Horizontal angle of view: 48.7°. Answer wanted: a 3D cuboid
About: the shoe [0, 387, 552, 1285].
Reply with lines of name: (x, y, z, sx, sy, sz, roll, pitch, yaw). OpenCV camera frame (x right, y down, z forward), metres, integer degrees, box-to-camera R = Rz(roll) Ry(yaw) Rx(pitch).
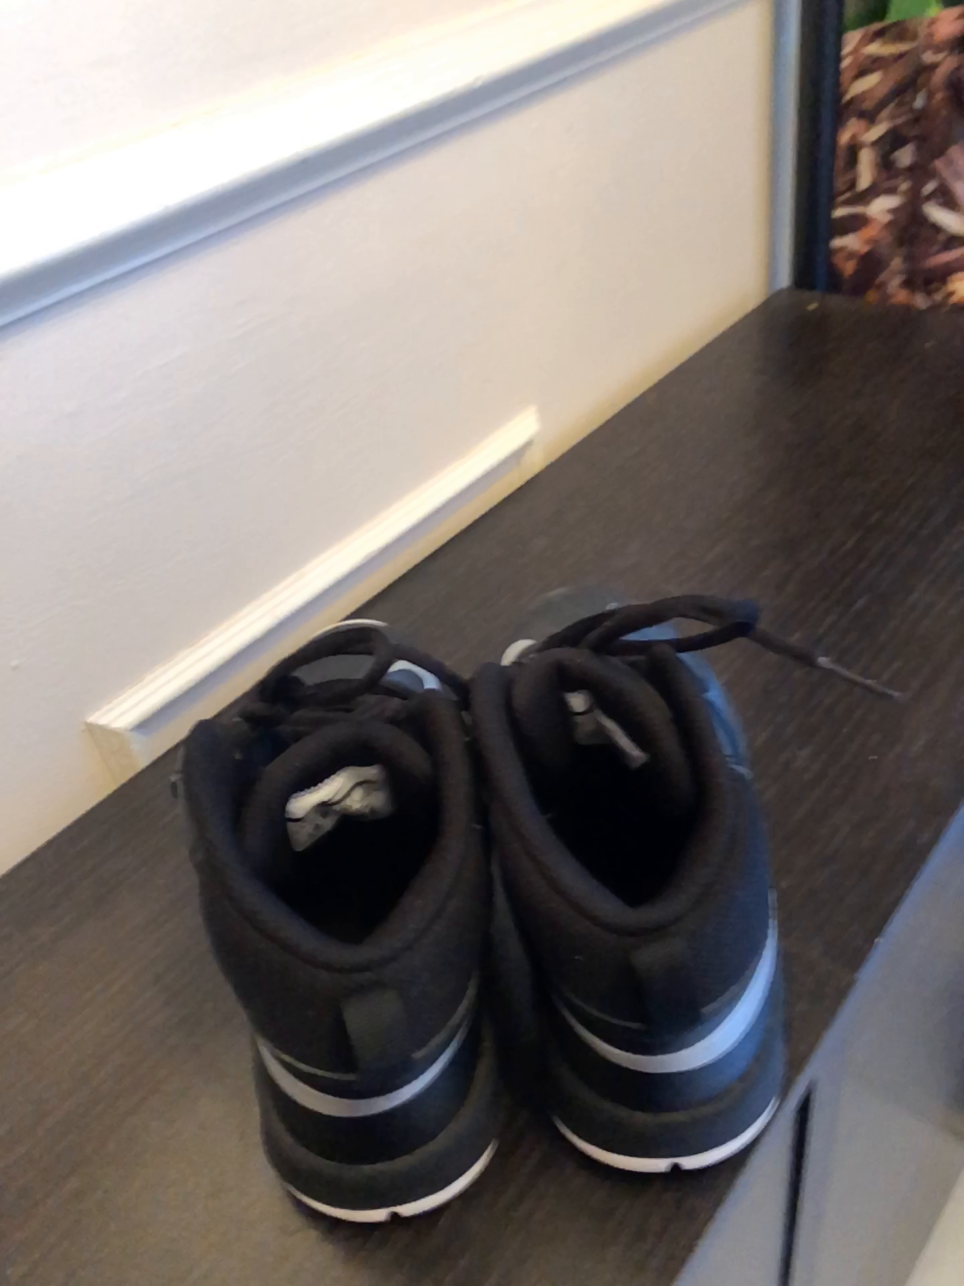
shoe: (-0.059, 0.040, 0.343, 0.100, 0.129, 0.262, -12, 38, -2)

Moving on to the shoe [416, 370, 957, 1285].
shoe: (0.040, 0.033, 0.335, 0.100, 0.129, 0.252, -8, 38, 3)
